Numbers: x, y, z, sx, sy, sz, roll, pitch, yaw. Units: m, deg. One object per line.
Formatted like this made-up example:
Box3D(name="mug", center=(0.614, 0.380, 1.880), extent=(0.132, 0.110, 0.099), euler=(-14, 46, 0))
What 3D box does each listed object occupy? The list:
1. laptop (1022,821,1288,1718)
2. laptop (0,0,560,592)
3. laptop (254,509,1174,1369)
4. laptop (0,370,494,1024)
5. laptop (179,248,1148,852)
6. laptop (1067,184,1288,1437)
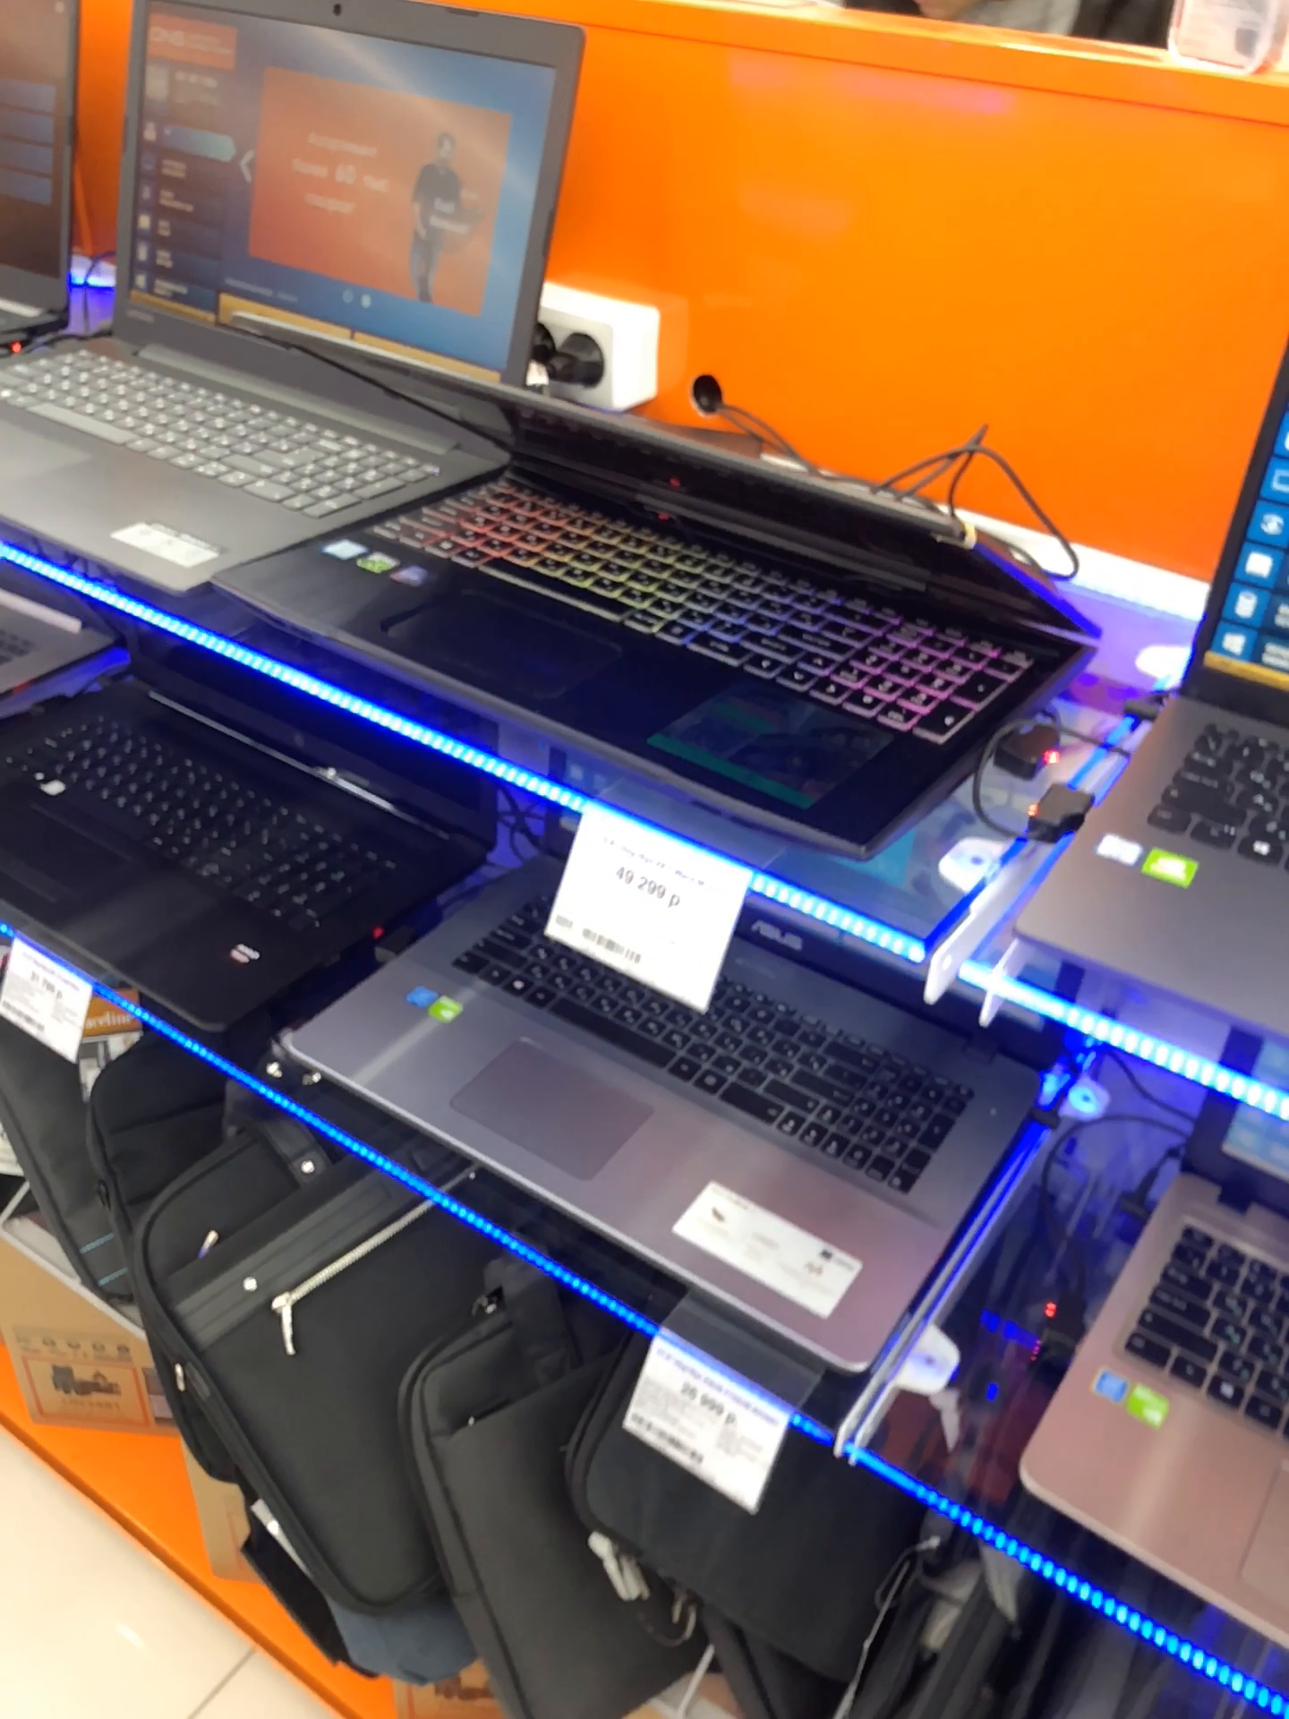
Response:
Box3D(name="laptop", center=(0.392, 0.199, 0.591), extent=(0.359, 0.240, 0.230), euler=(23, 39, 27))
Box3D(name="laptop", center=(-0.283, -0.370, 0.837), extent=(0.359, 0.228, 0.319), euler=(24, 39, 25))
Box3D(name="laptop", center=(0.032, 0.012, 0.831), extent=(0.394, 0.256, 0.288), euler=(24, 40, 26))
Box3D(name="laptop", center=(-0.355, -0.140, 1.008), extent=(0.407, 0.270, 0.273), euler=(24, 38, 26))
Box3D(name="laptop", center=(0.007, -0.175, 0.681), extent=(0.364, 0.121, 0.244), euler=(24, 39, 25))
Box3D(name="laptop", center=(0.355, -0.062, 0.468), extent=(0.352, 0.216, 0.231), euler=(21, 38, 23))
